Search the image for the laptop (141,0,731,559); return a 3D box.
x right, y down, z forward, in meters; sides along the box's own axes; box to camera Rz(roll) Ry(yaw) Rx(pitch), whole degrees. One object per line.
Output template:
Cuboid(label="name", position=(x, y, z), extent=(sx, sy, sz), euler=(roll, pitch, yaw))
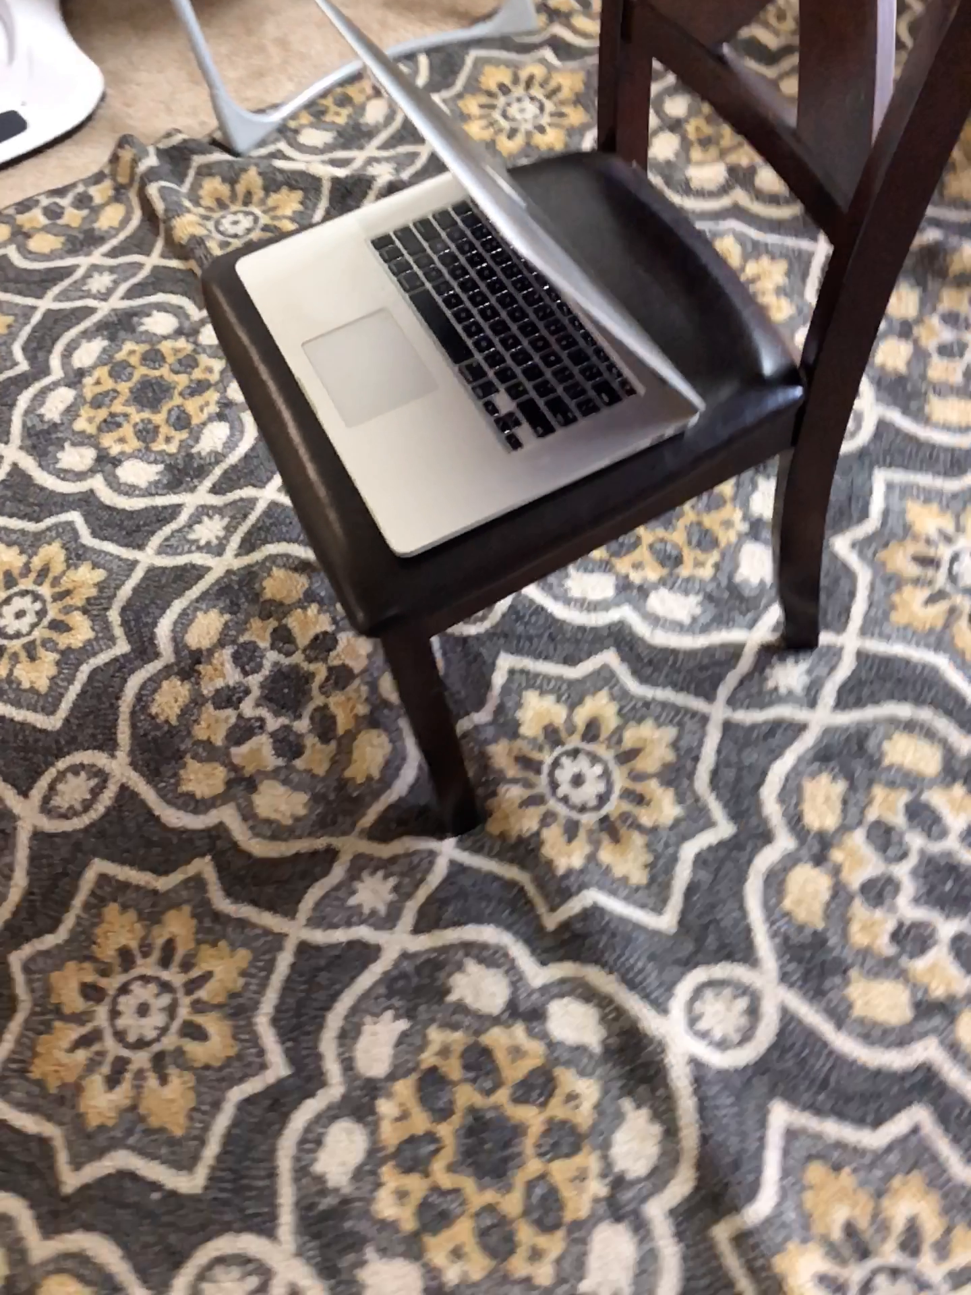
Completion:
Cuboid(label="laptop", position=(-0.039, -0.290, 0.740), extent=(0.237, 0.200, 0.352), euler=(-26, 60, -8))
